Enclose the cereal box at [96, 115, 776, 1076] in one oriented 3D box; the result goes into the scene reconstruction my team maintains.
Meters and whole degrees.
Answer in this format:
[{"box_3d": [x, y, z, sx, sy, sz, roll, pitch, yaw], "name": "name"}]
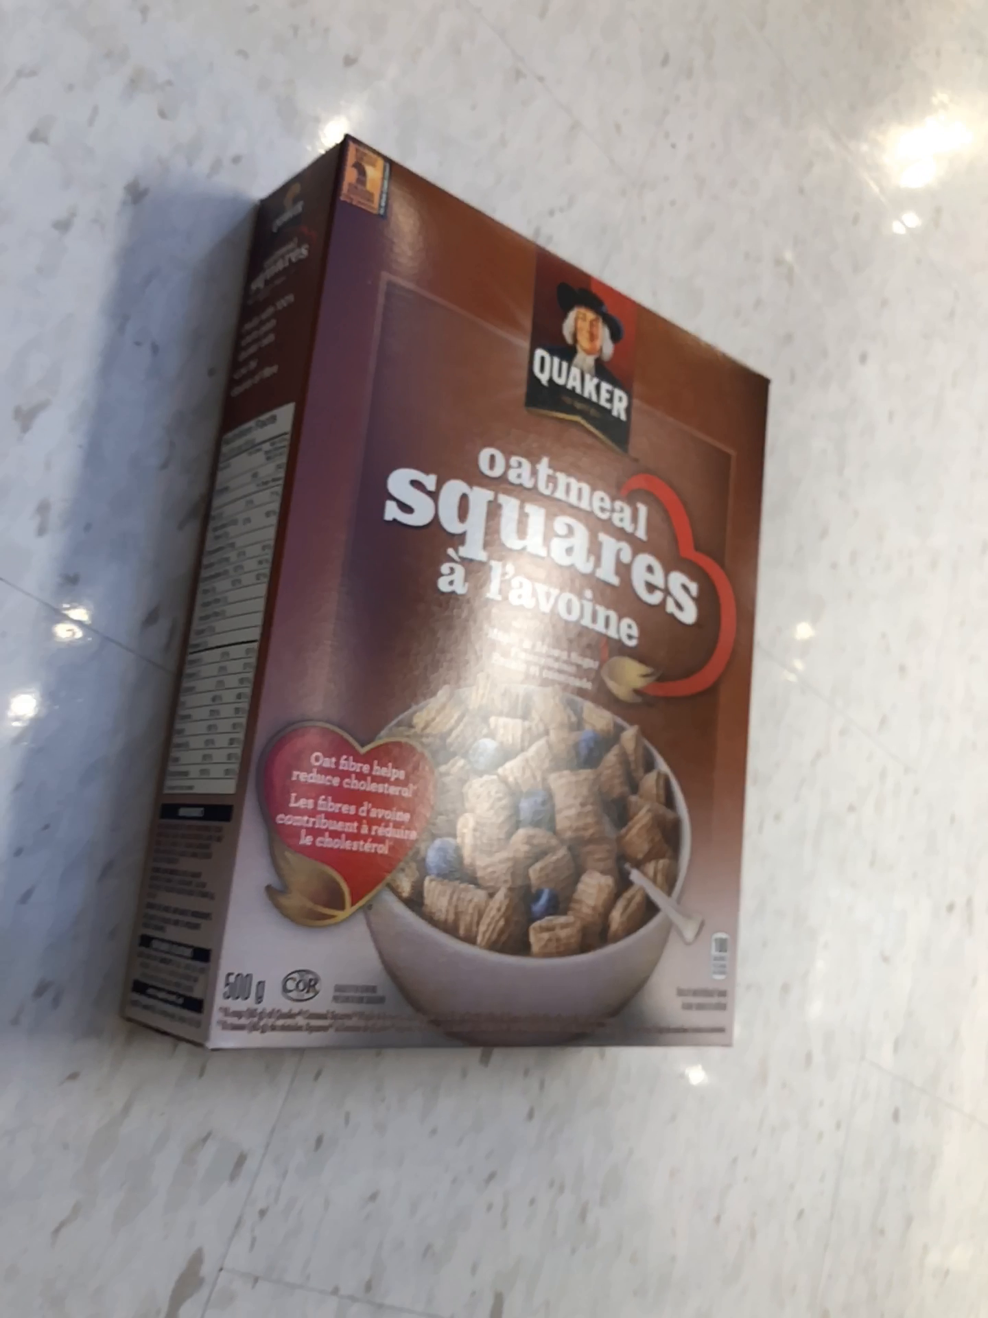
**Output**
[{"box_3d": [0.000, -0.004, 0.386, 0.211, 0.070, 0.270, 16, 74, -38], "name": "cereal box"}]
